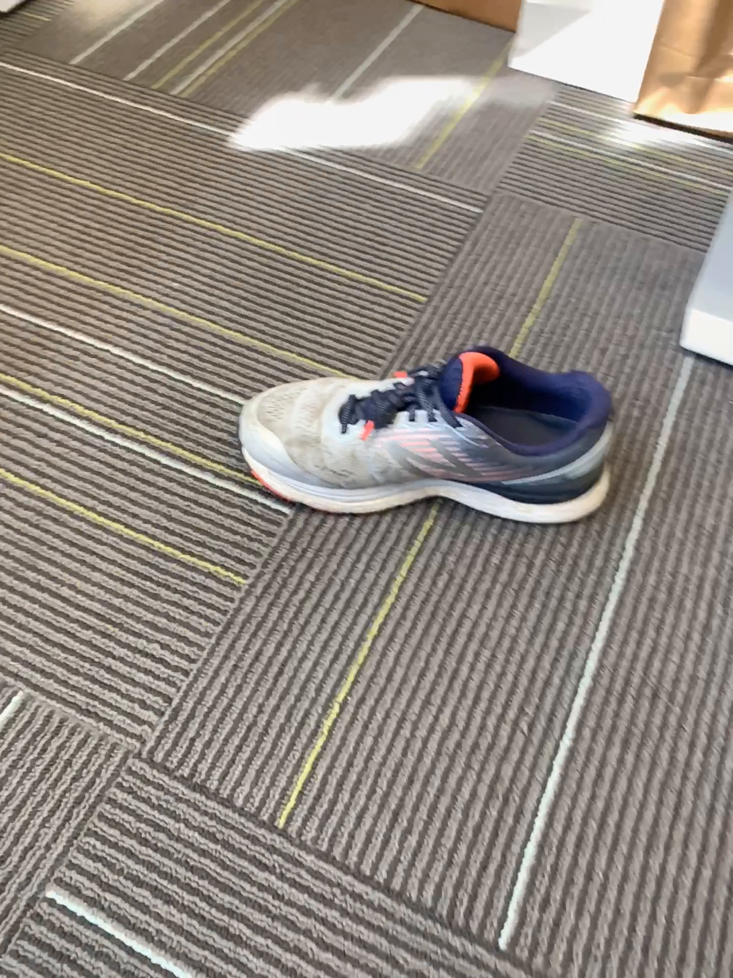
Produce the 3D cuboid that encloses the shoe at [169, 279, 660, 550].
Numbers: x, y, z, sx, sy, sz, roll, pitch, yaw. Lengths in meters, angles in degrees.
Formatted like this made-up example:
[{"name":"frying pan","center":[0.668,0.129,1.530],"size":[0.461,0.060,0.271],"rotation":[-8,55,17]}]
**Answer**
[{"name":"shoe","center":[0.033,-0.051,0.533],"size":[0.300,0.110,0.110],"rotation":[8,57,4]}]
